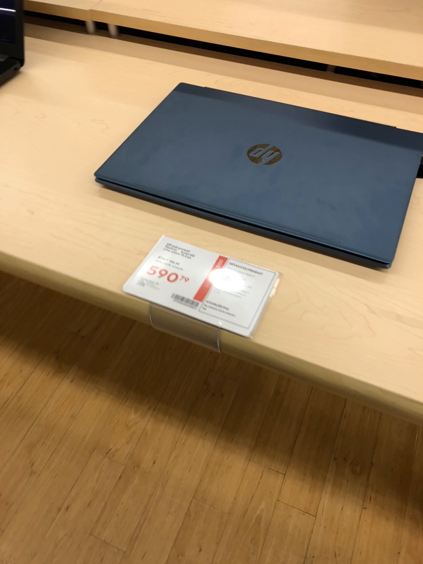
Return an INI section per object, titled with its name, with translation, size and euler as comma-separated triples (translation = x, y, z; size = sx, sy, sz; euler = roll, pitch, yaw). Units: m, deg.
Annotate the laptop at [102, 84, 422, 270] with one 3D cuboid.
[laptop]
translation = 0.065, -0.155, 0.589
size = 0.353, 0.012, 0.220
euler = 19, 57, 18
